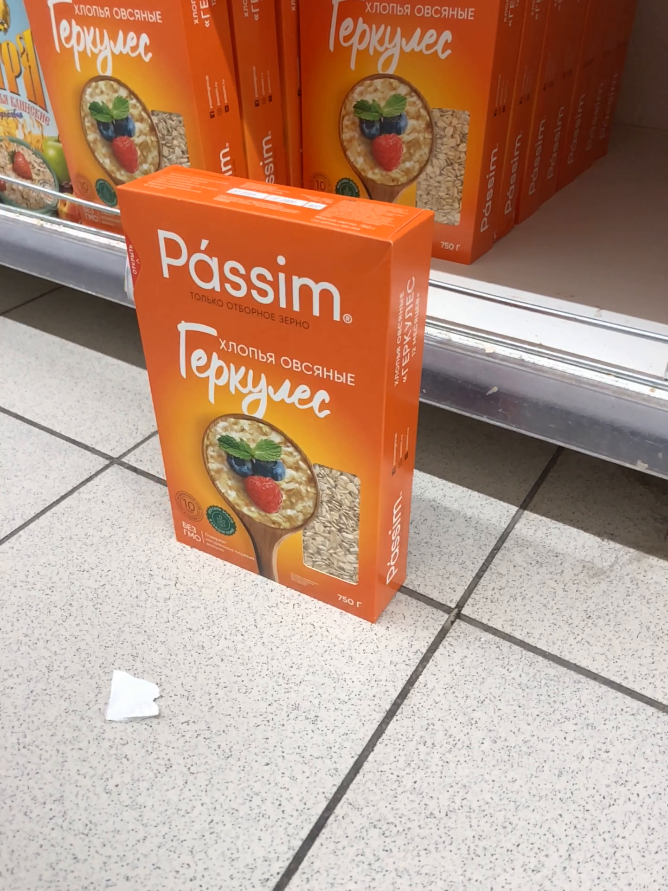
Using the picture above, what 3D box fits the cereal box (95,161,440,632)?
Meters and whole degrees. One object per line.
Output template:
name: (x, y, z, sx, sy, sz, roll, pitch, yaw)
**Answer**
cereal box: (-0.036, -0.022, 0.435, 0.170, 0.249, 0.050, 18, 40, 23)
